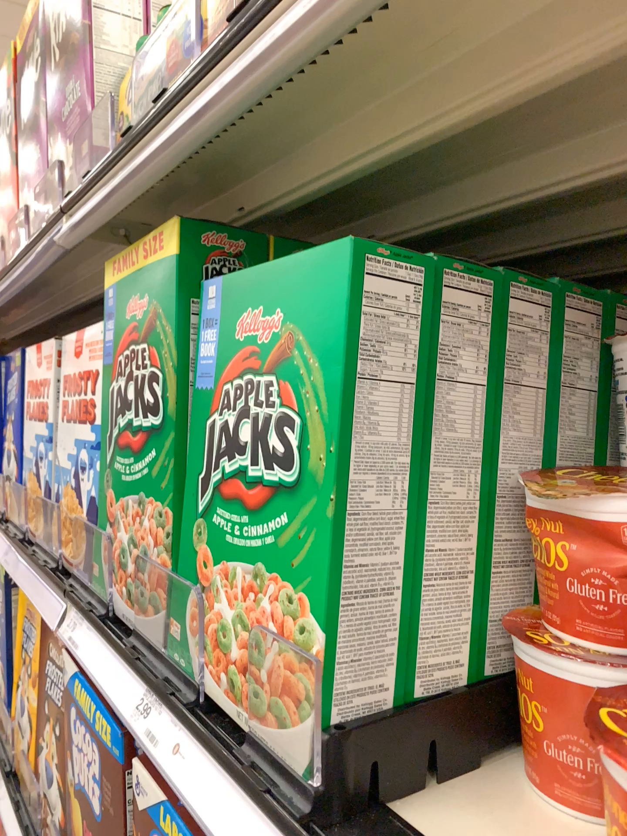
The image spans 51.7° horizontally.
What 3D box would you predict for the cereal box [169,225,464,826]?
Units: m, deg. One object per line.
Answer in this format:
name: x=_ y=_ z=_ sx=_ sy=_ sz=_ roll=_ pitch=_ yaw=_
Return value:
cereal box: x=-0.012 y=0.048 z=0.412 sx=0.060 sy=0.290 sz=0.200 roll=6 pitch=-1 yaw=-35
